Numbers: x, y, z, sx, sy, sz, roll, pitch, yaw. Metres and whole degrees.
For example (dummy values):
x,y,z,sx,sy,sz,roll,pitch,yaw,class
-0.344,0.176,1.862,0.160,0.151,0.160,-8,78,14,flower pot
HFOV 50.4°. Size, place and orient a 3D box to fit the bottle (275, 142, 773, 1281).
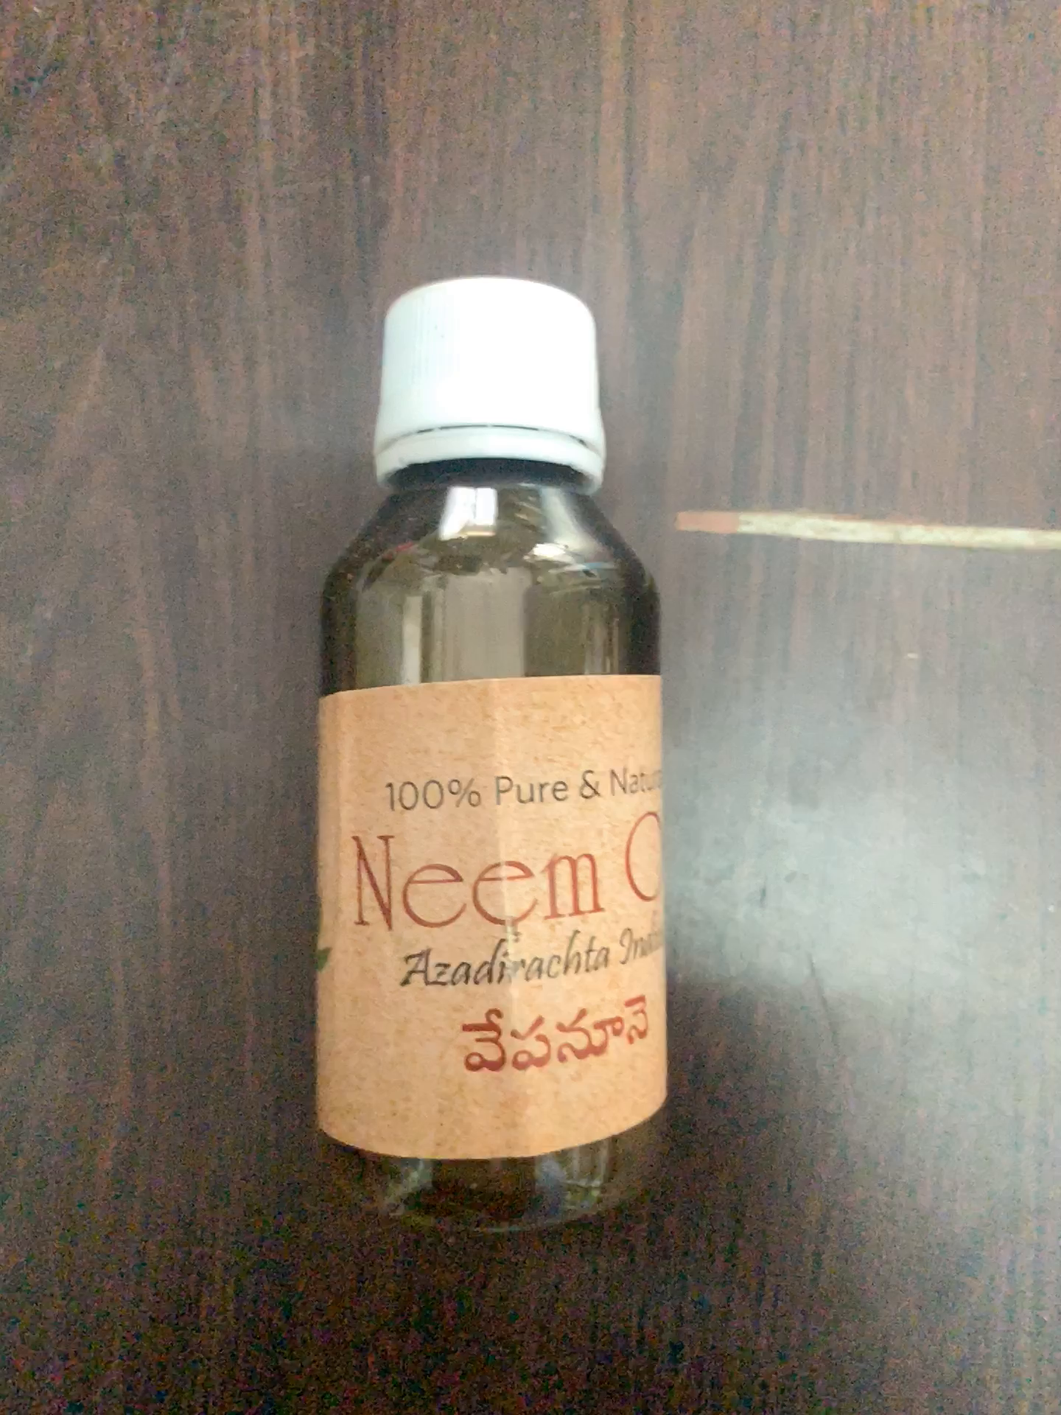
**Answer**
x,y,z,sx,sy,sz,roll,pitch,yaw,class
-0.004,0.000,0.145,0.050,0.040,0.120,-1,86,-18,bottle
